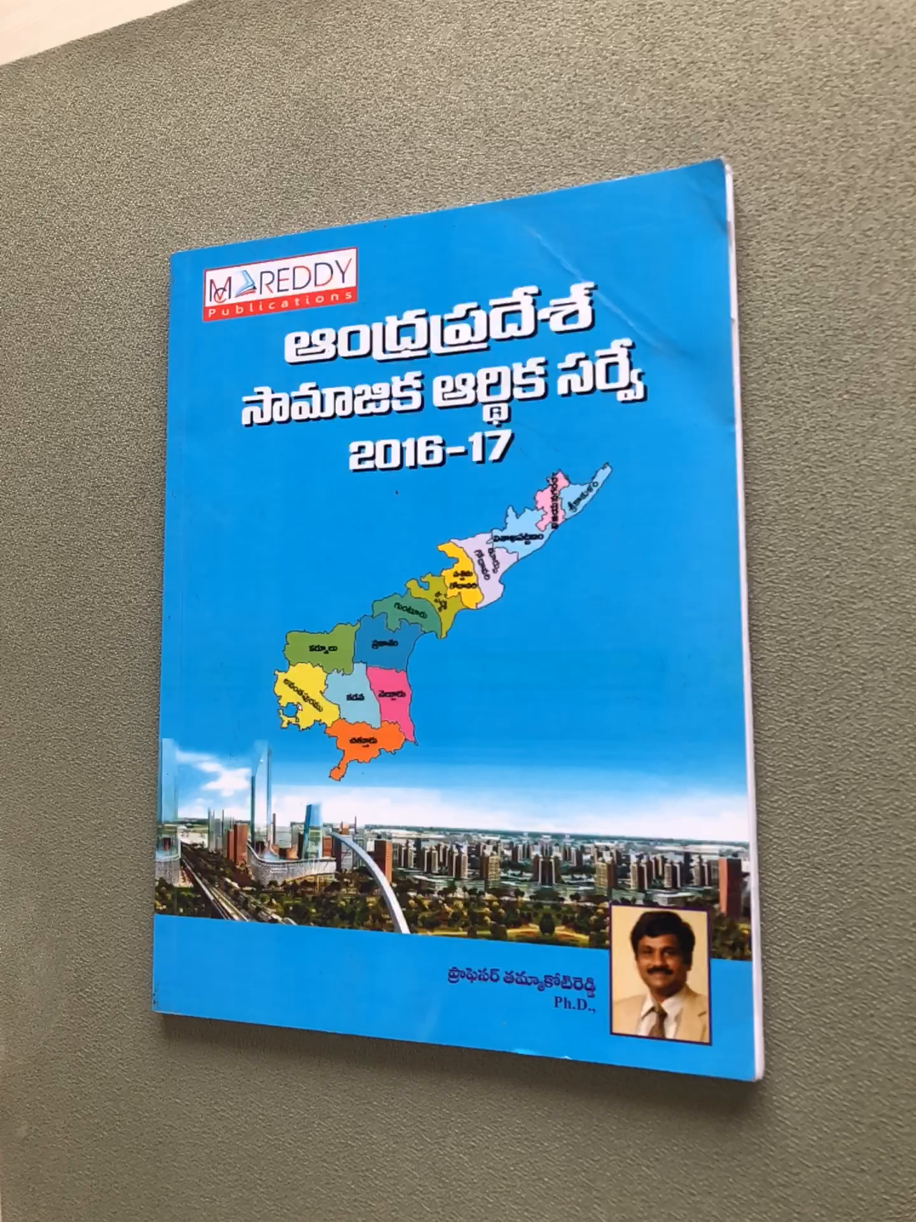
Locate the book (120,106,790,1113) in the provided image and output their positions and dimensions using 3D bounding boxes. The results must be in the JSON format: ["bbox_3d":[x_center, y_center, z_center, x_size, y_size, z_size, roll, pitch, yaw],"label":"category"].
[{"bbox_3d":[-0.007,-0.002,0.279,0.180,0.020,0.240,-2,85,18],"label":"book"}]
